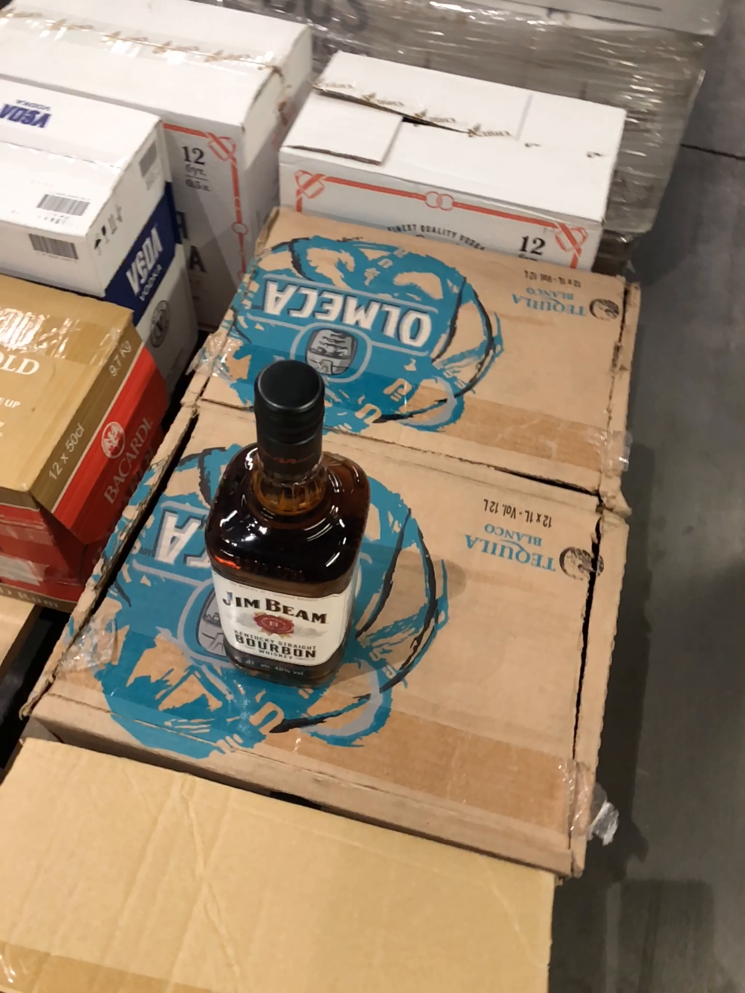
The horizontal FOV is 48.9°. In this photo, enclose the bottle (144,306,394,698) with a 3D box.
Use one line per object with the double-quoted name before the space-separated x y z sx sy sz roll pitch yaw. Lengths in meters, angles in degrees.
"bottle" -0.051 0.024 0.473 0.090 0.263 0.081 13 57 4
